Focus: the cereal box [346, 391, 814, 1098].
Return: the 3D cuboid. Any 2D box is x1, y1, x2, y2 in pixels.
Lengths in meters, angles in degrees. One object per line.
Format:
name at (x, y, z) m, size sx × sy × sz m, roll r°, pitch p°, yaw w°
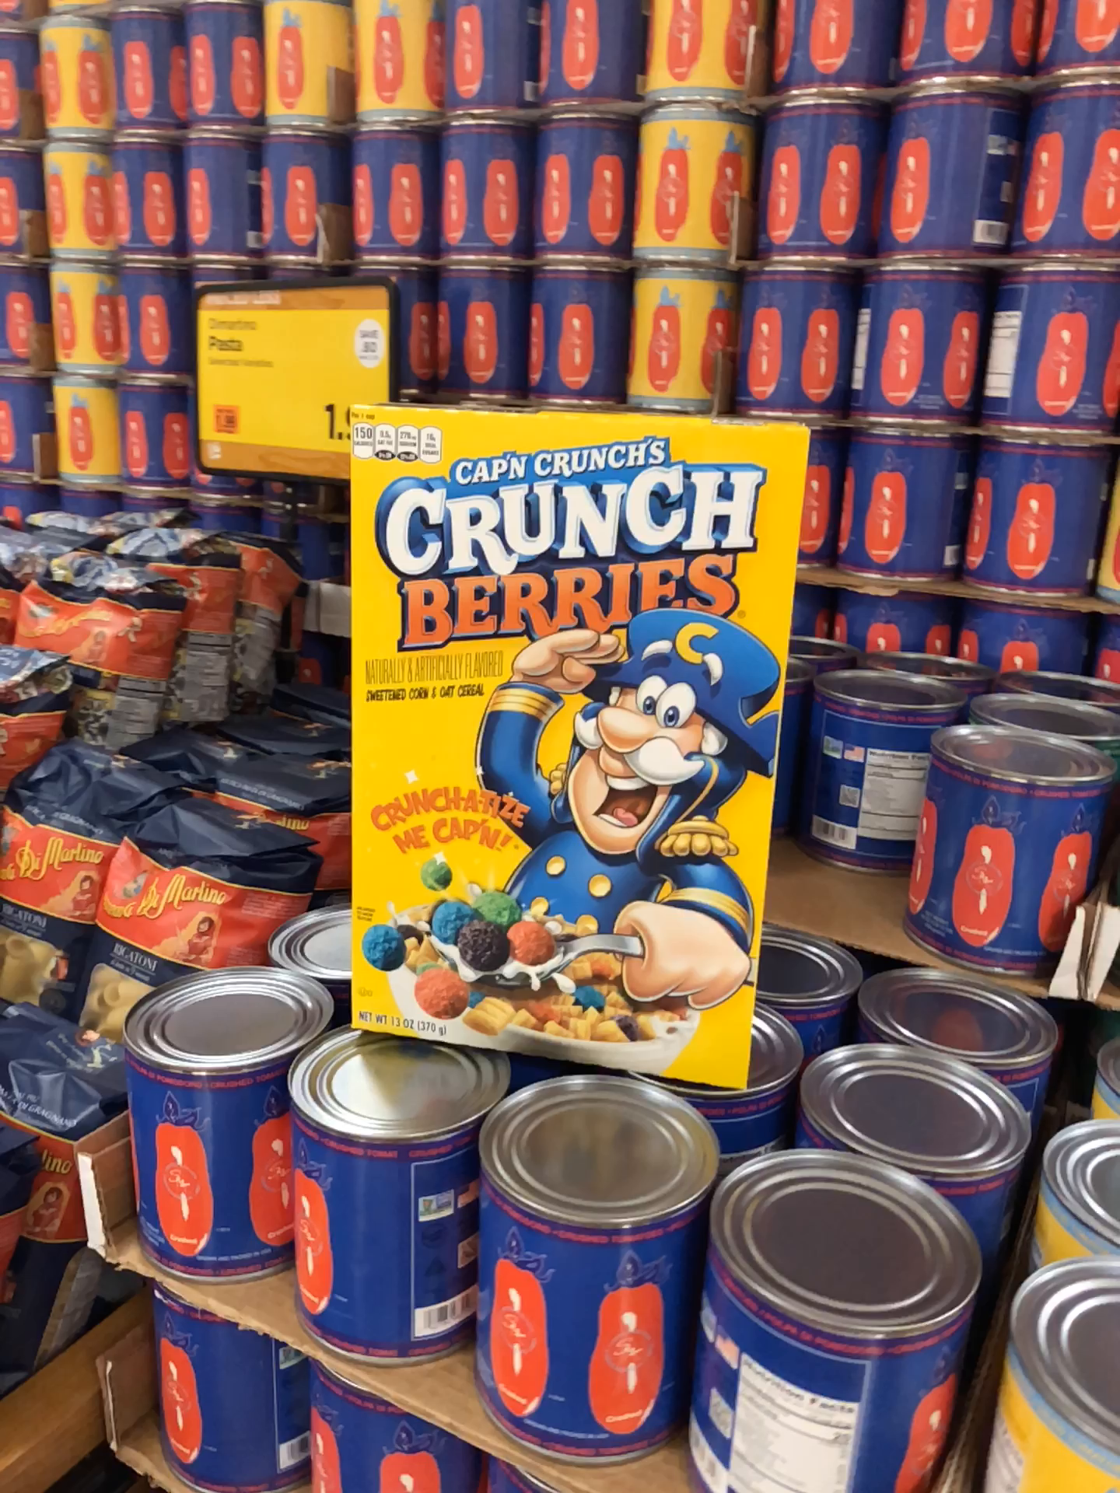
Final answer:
cereal box at (0.004, -0.003, 0.561) m, size 0.190 × 0.298 × 0.060 m, roll 6°, pitch 16°, yaw 12°
